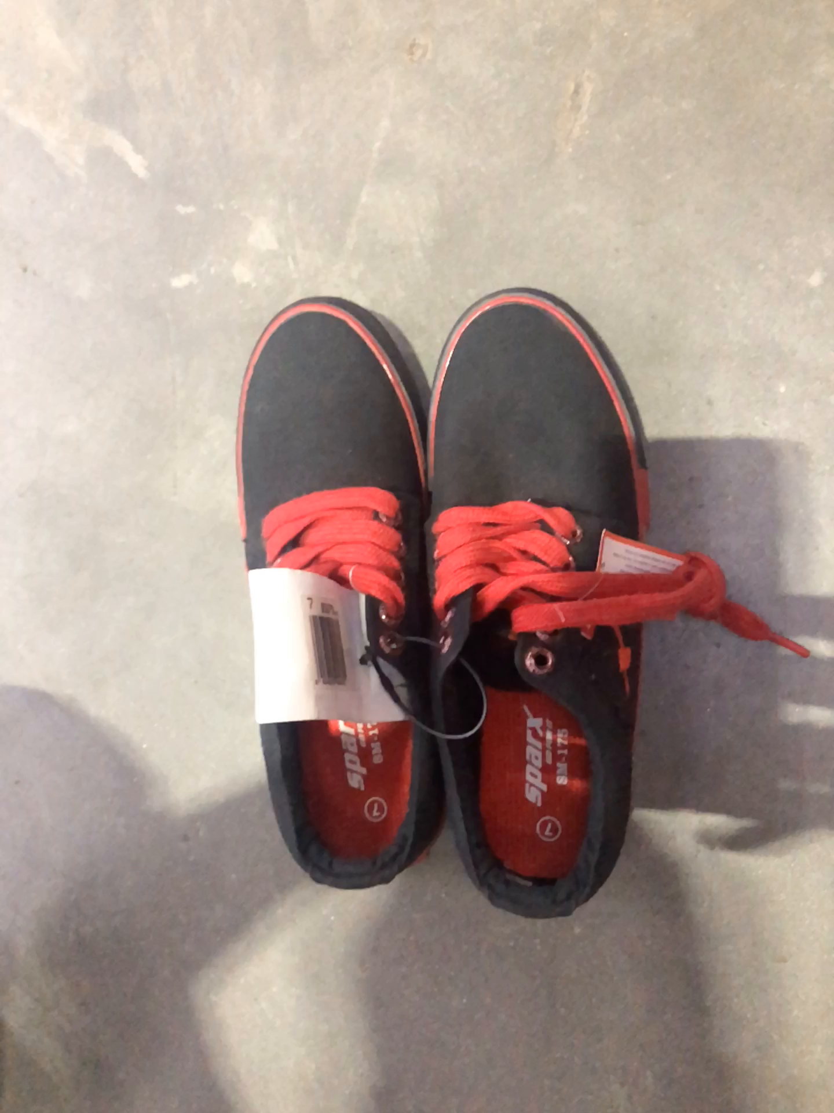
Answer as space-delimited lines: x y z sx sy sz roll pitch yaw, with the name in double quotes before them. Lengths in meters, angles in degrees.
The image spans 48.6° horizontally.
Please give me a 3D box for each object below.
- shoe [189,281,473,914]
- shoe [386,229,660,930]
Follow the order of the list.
"shoe" -0.036 0.017 0.425 0.100 0.100 0.250 -4 87 -1
"shoe" 0.051 0.008 0.391 0.100 0.100 0.250 0 88 15
